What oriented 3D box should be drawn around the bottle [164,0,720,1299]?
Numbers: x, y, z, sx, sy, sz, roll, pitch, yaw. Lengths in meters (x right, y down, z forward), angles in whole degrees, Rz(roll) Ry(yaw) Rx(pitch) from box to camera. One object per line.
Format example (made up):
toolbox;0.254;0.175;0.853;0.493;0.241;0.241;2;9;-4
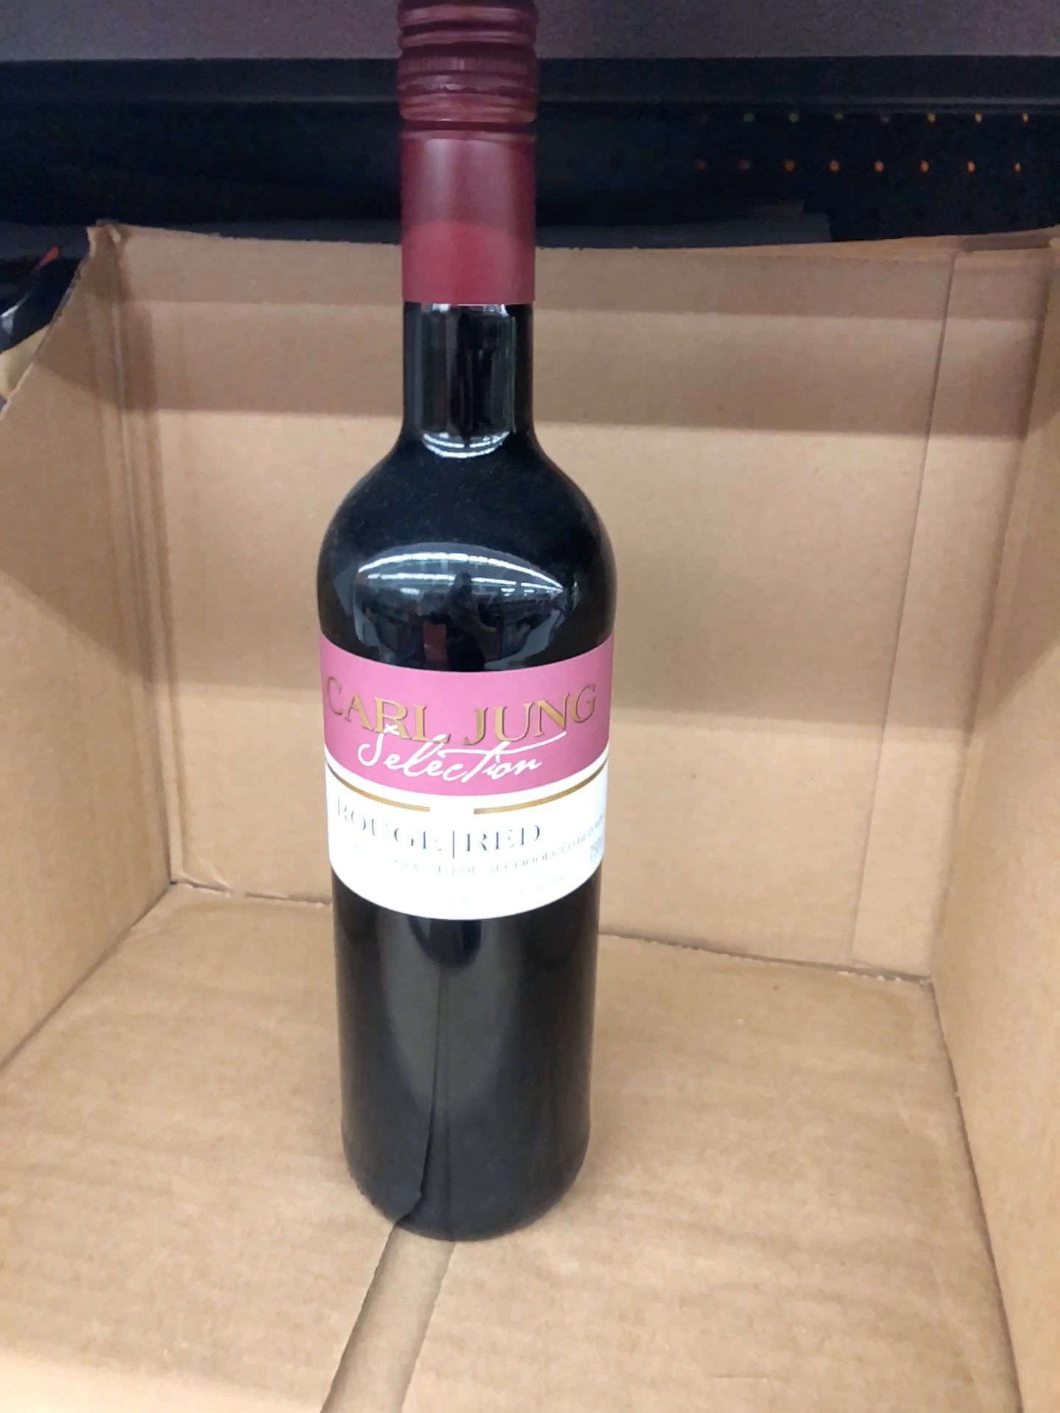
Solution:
bottle;-0.014;-0.006;0.296;0.090;0.308;0.081;7;24;14
